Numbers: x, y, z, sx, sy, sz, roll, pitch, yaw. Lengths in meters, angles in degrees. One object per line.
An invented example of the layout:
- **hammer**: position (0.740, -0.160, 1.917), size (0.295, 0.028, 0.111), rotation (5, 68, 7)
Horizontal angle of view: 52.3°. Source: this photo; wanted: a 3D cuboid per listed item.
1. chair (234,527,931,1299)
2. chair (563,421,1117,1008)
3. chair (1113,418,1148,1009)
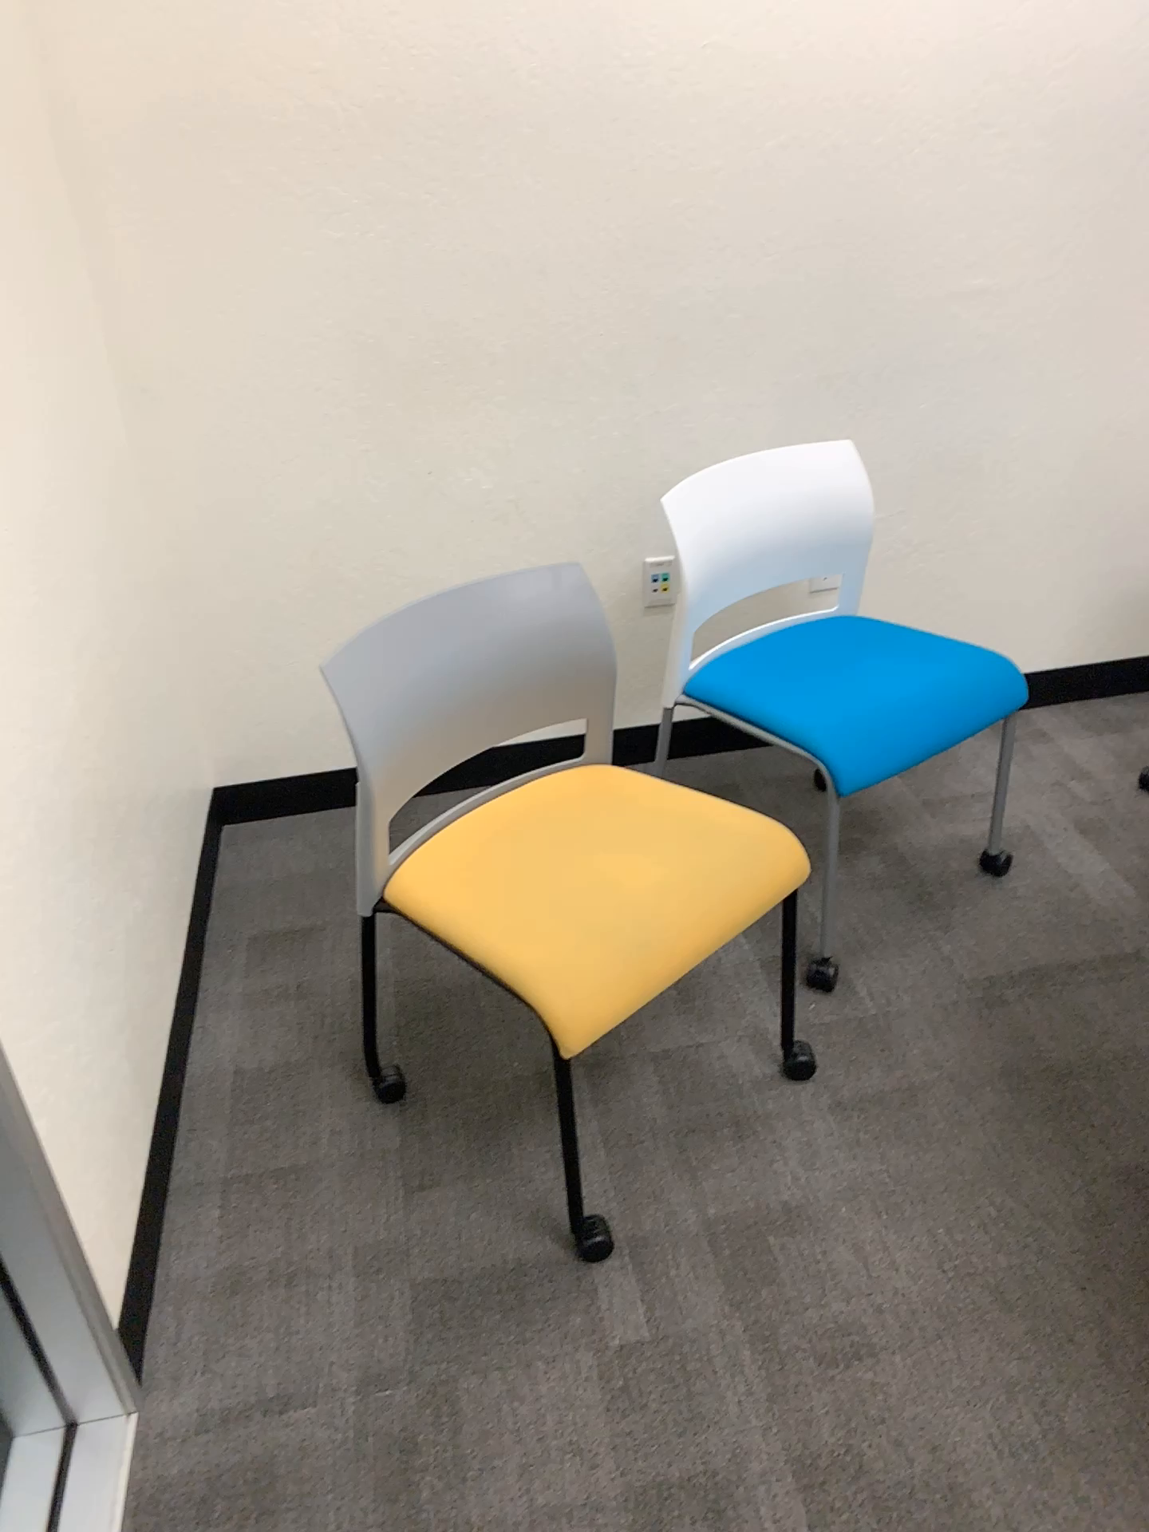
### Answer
- **chair**: position (0.021, 0.145, 1.754), size (0.641, 0.715, 0.693), rotation (-28, 38, -35)
- **chair**: position (0.463, -0.151, 2.227), size (0.641, 0.755, 0.694), rotation (-22, 35, -28)
- **chair**: position (1.472, -0.152, 2.160), size (0.751, 0.765, 0.693), rotation (9, 33, 21)
